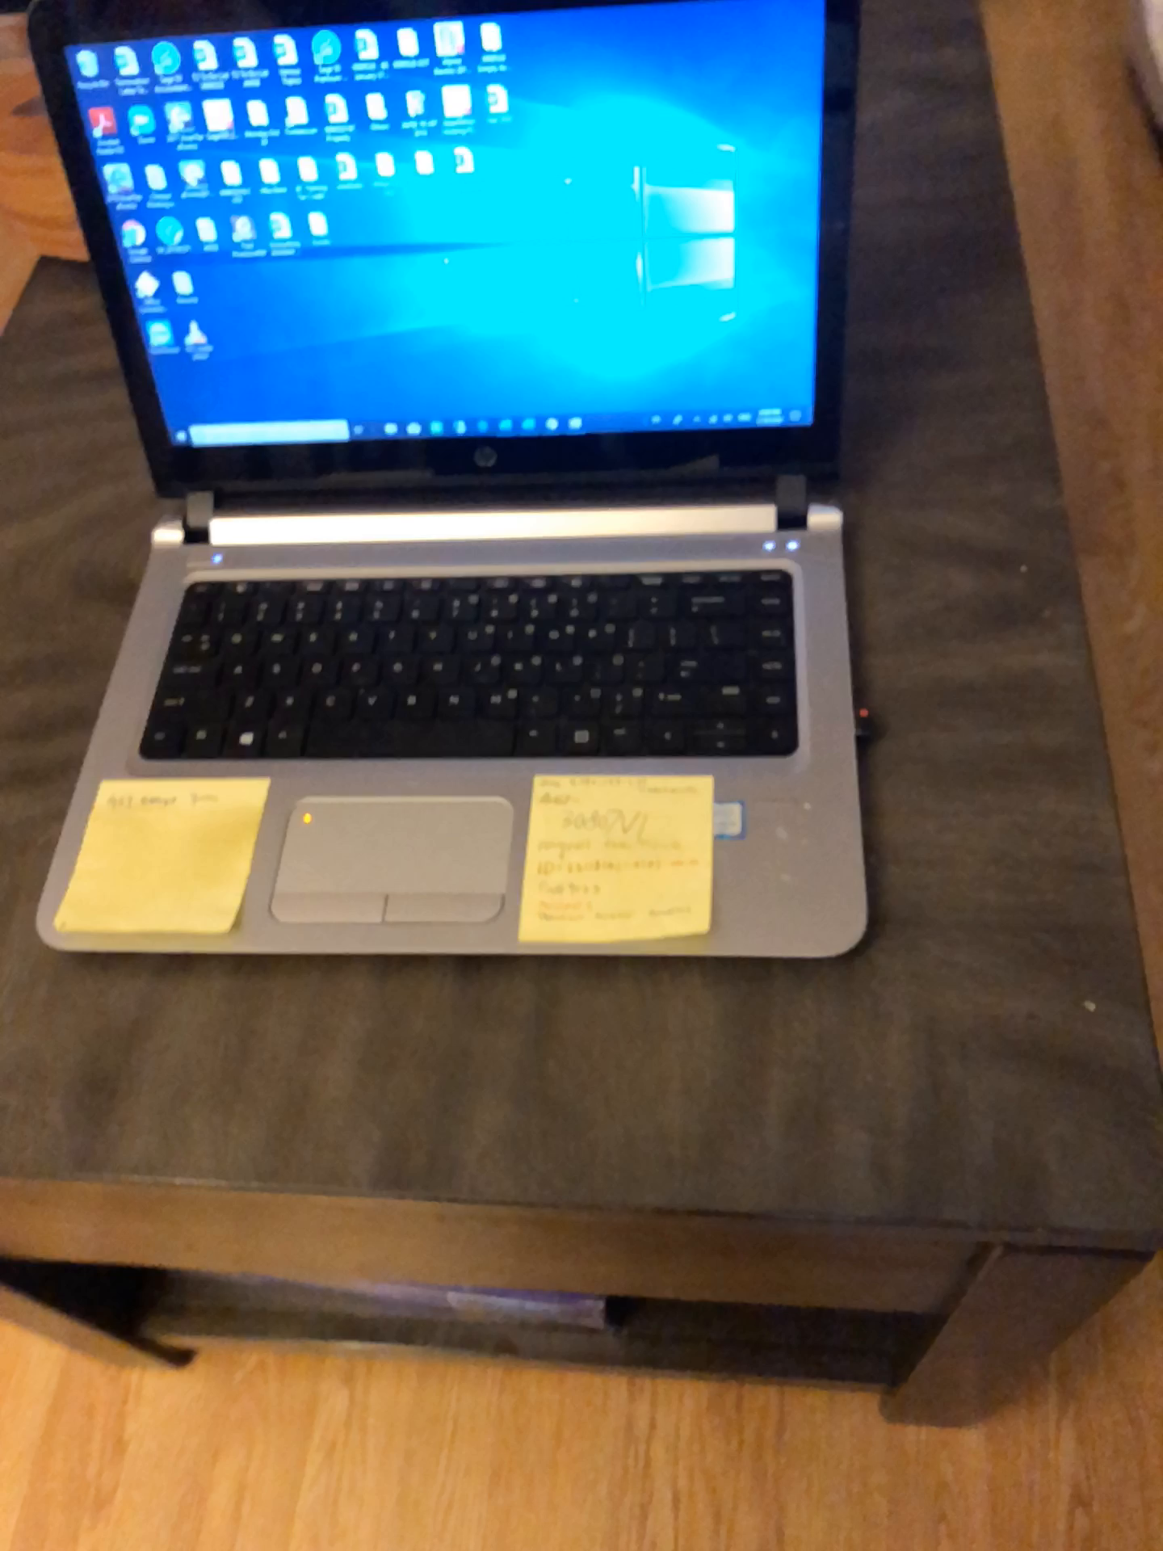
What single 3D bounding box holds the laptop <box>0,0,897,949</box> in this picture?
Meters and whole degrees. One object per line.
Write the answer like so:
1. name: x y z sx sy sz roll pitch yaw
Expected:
1. laptop: -0.062 -0.121 0.499 0.315 0.203 0.314 0 57 7
